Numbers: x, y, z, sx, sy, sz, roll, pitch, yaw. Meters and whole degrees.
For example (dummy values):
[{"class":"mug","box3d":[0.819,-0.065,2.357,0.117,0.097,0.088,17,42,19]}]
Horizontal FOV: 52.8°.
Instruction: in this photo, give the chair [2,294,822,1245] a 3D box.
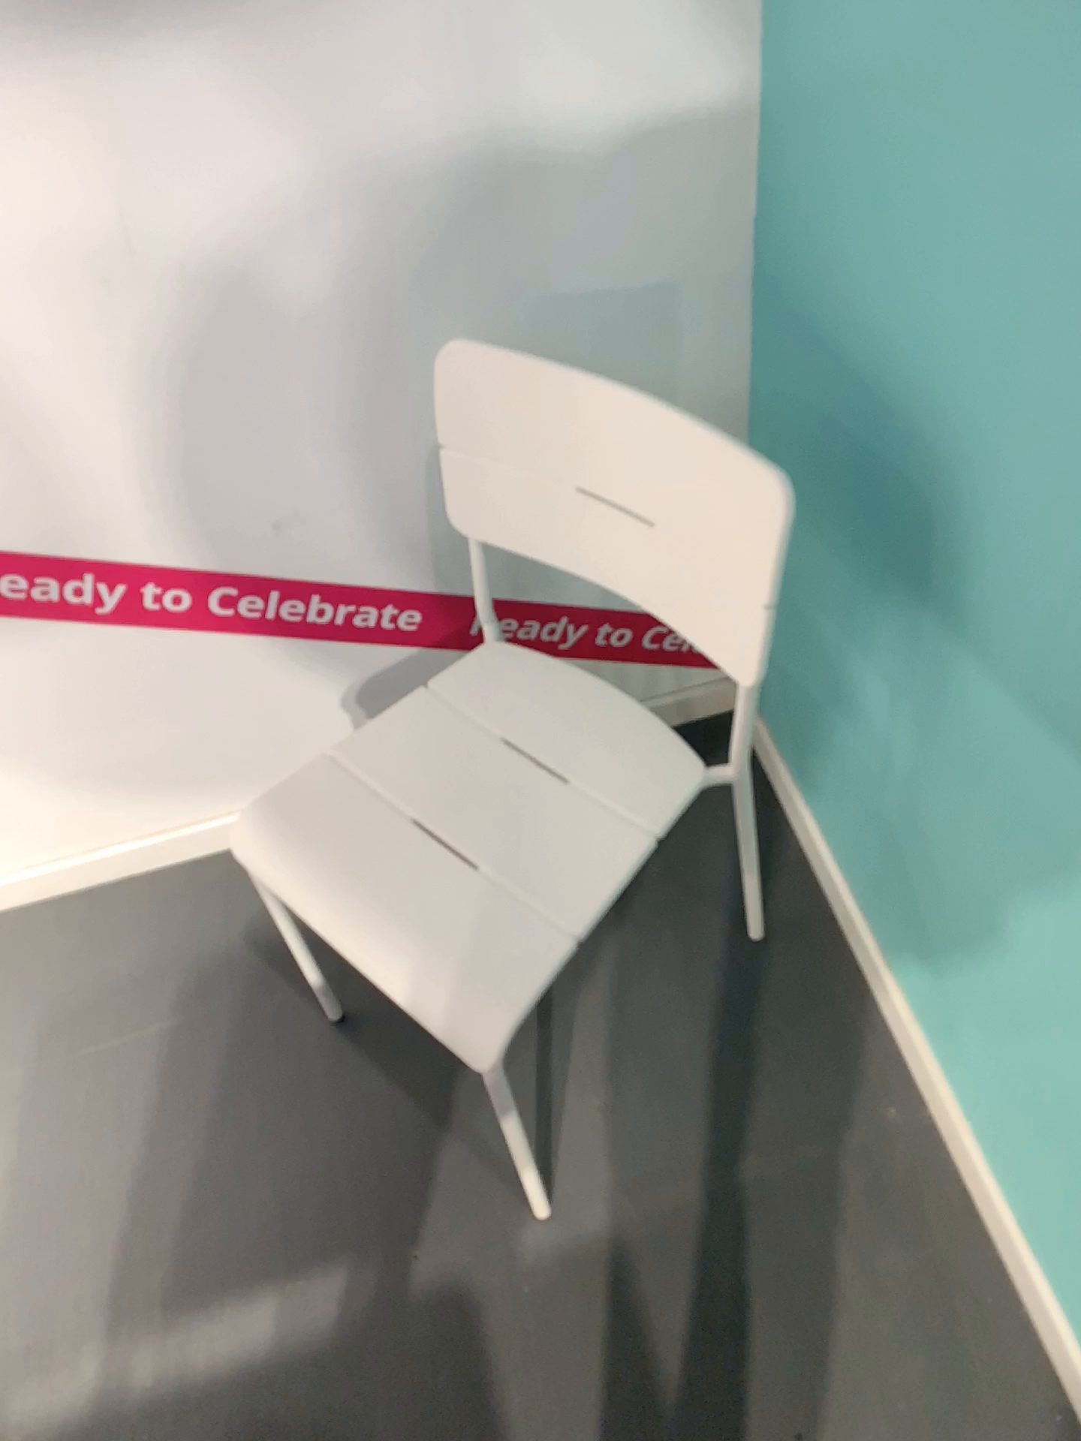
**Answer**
[{"class":"chair","box3d":[-0.052,0.098,1.122,0.431,0.808,0.450,32,62,30]}]
